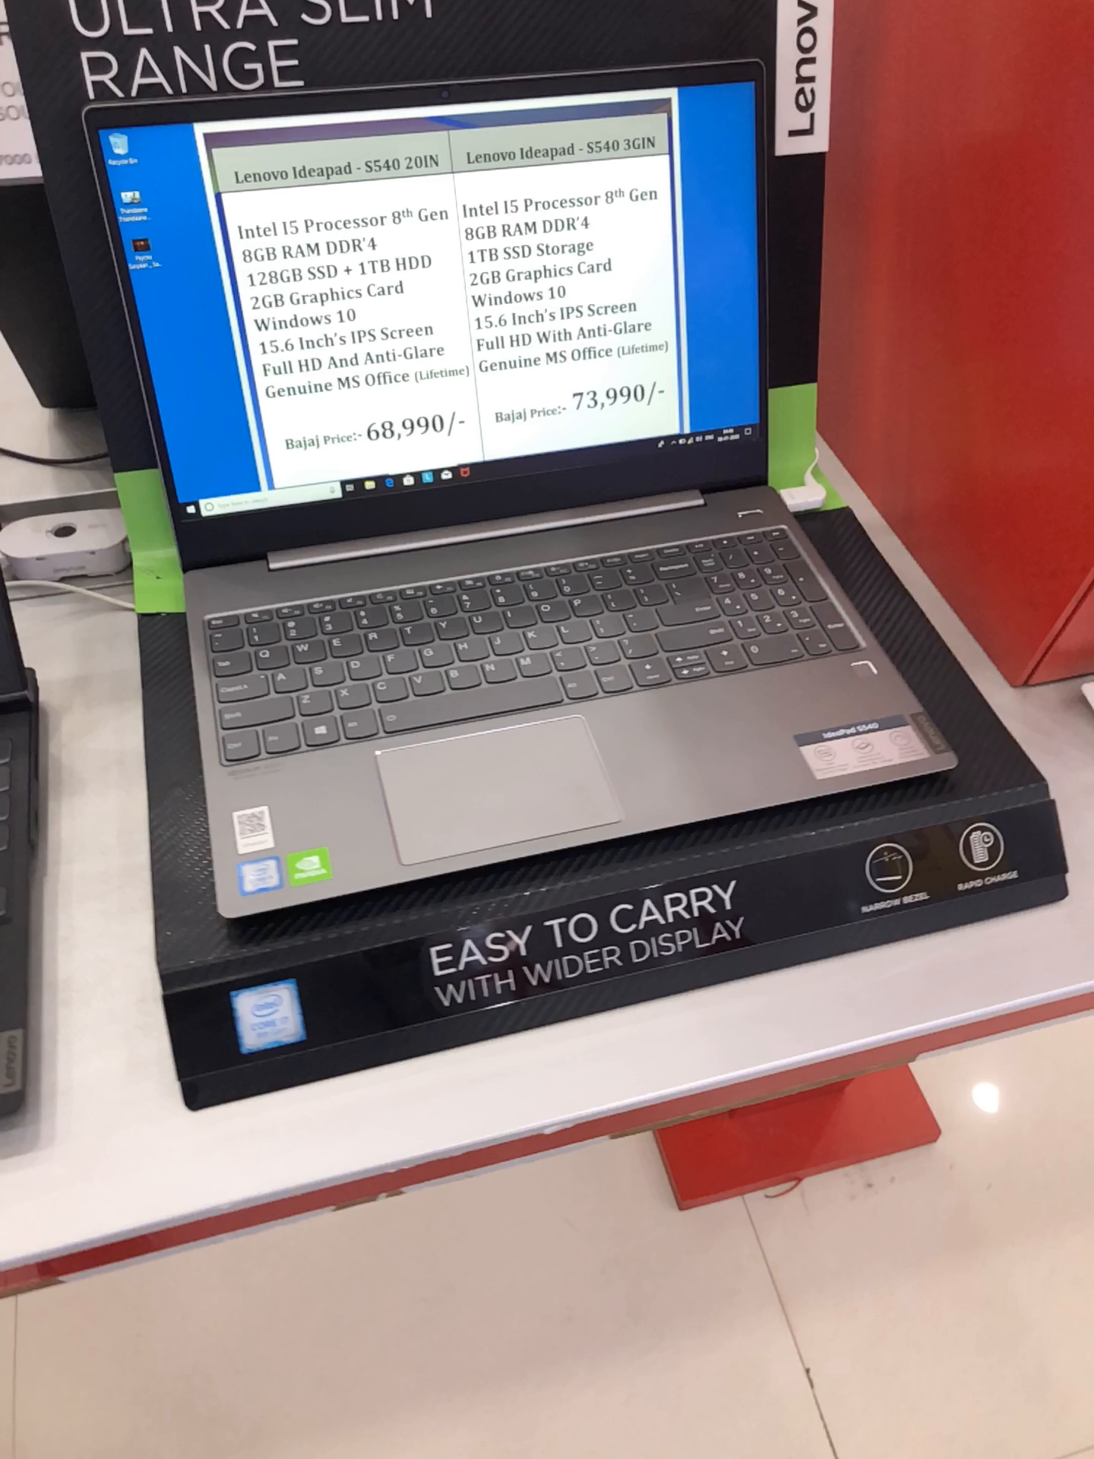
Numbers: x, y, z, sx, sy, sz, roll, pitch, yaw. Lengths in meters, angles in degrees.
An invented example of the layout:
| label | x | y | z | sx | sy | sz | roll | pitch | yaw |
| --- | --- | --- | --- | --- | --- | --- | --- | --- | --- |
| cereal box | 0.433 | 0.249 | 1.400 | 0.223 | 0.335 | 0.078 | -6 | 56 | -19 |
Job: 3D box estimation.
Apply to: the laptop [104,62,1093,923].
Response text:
| label | x | y | z | sx | sy | sz | roll | pitch | yaw |
| --- | --- | --- | --- | --- | --- | --- | --- | --- | --- |
| laptop | -0.010 | -0.137 | 0.569 | 0.336 | 0.194 | 0.325 | -11 | 49 | -12 |
